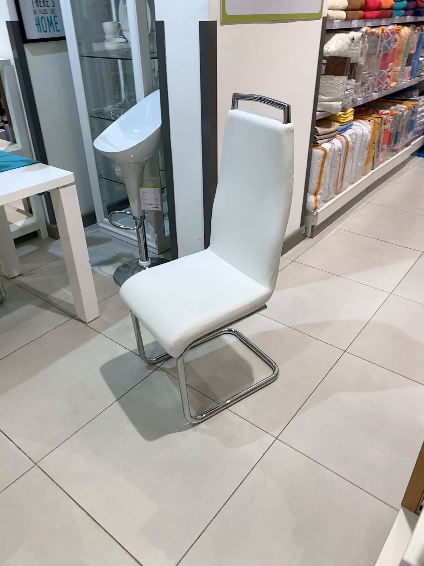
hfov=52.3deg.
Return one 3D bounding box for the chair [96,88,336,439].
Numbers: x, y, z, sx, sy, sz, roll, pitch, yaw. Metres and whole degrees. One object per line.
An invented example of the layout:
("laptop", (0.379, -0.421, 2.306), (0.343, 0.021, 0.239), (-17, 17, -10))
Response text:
("chair", (0.002, -0.079, 1.520), (0.520, 1.026, 0.482), (-19, 36, -27))
